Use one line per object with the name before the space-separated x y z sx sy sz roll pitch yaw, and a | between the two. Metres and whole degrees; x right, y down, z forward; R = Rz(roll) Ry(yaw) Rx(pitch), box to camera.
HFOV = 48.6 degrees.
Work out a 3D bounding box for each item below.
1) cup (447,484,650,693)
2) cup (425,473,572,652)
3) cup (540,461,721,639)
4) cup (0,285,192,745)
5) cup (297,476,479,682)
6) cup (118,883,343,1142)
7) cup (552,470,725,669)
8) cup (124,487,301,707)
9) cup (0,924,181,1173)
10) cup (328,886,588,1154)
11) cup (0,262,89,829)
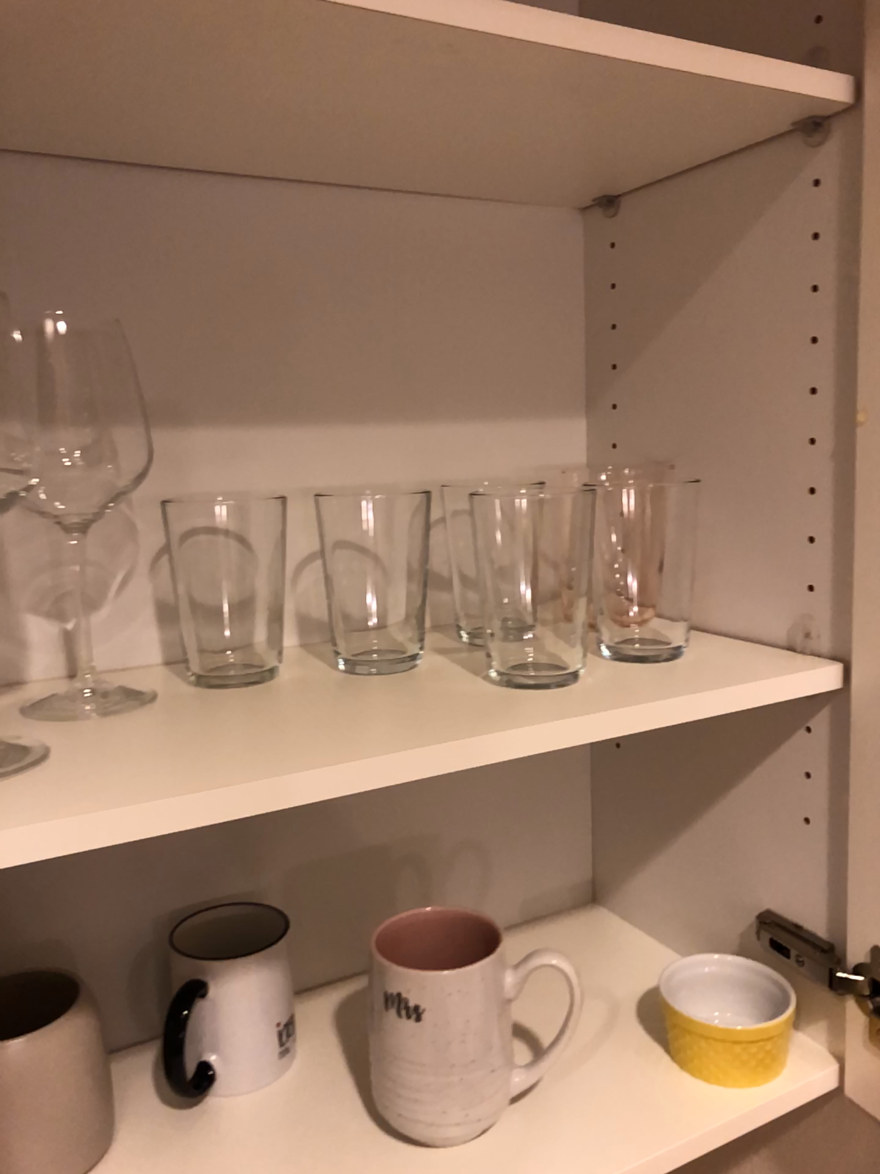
cup | 0.065 -0.005 0.589 0.080 0.110 0.090 -7 9 -34
cup | 0.043 -0.022 0.718 0.070 0.120 0.080 -7 9 -34
cup | 0.144 -0.033 0.741 0.090 0.120 0.100 -7 9 -32
cup | -0.235 -0.047 0.618 0.110 0.259 0.090 -7 9 -34
cup | -0.035 -0.011 0.642 0.080 0.120 0.090 -7 9 -34
cup | -0.131 0.272 0.646 0.090 0.090 0.140 0 8 13
cup | 0.133 -0.017 0.656 0.080 0.120 0.080 -2 7 0
cup | -0.152 0.001 0.649 0.080 0.130 0.090 -7 9 -34
cup | -0.245 0.282 0.575 0.140 0.090 0.110 4 10 37
cup | 0.015 0.252 0.582 0.140 0.110 0.090 -1 8 7
cup | -0.257 -0.024 0.495 0.110 0.249 0.090 -7 9 -34
